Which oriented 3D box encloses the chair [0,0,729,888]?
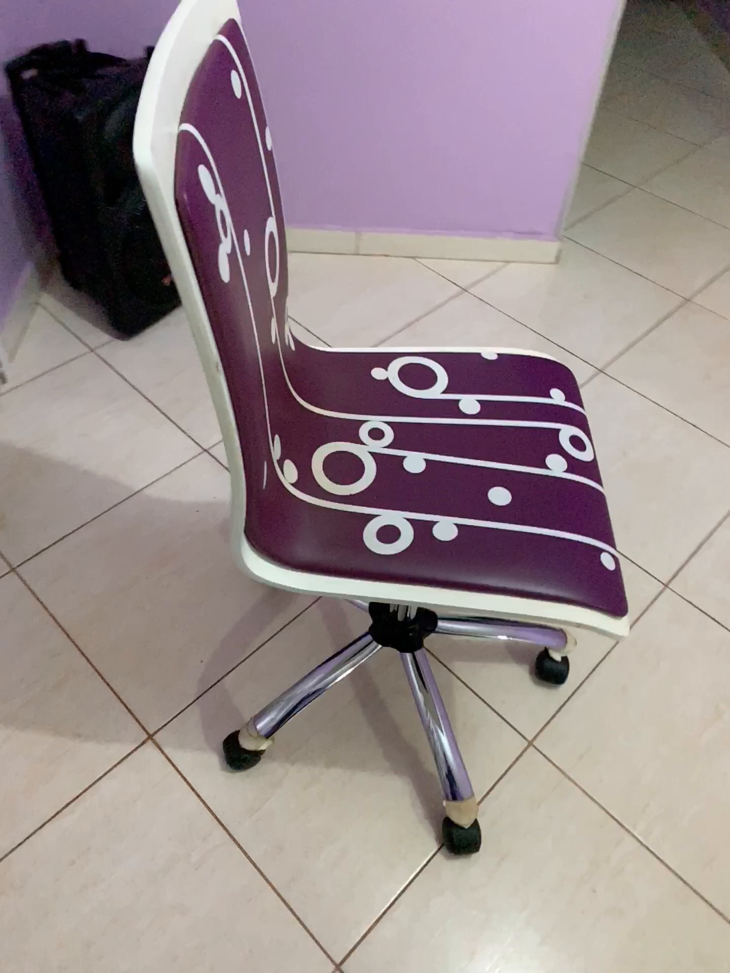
[{"bbox_3d":[0.067,-0.005,0.959,0.620,1.006,0.690,4,50,0],"label":"chair"}]
